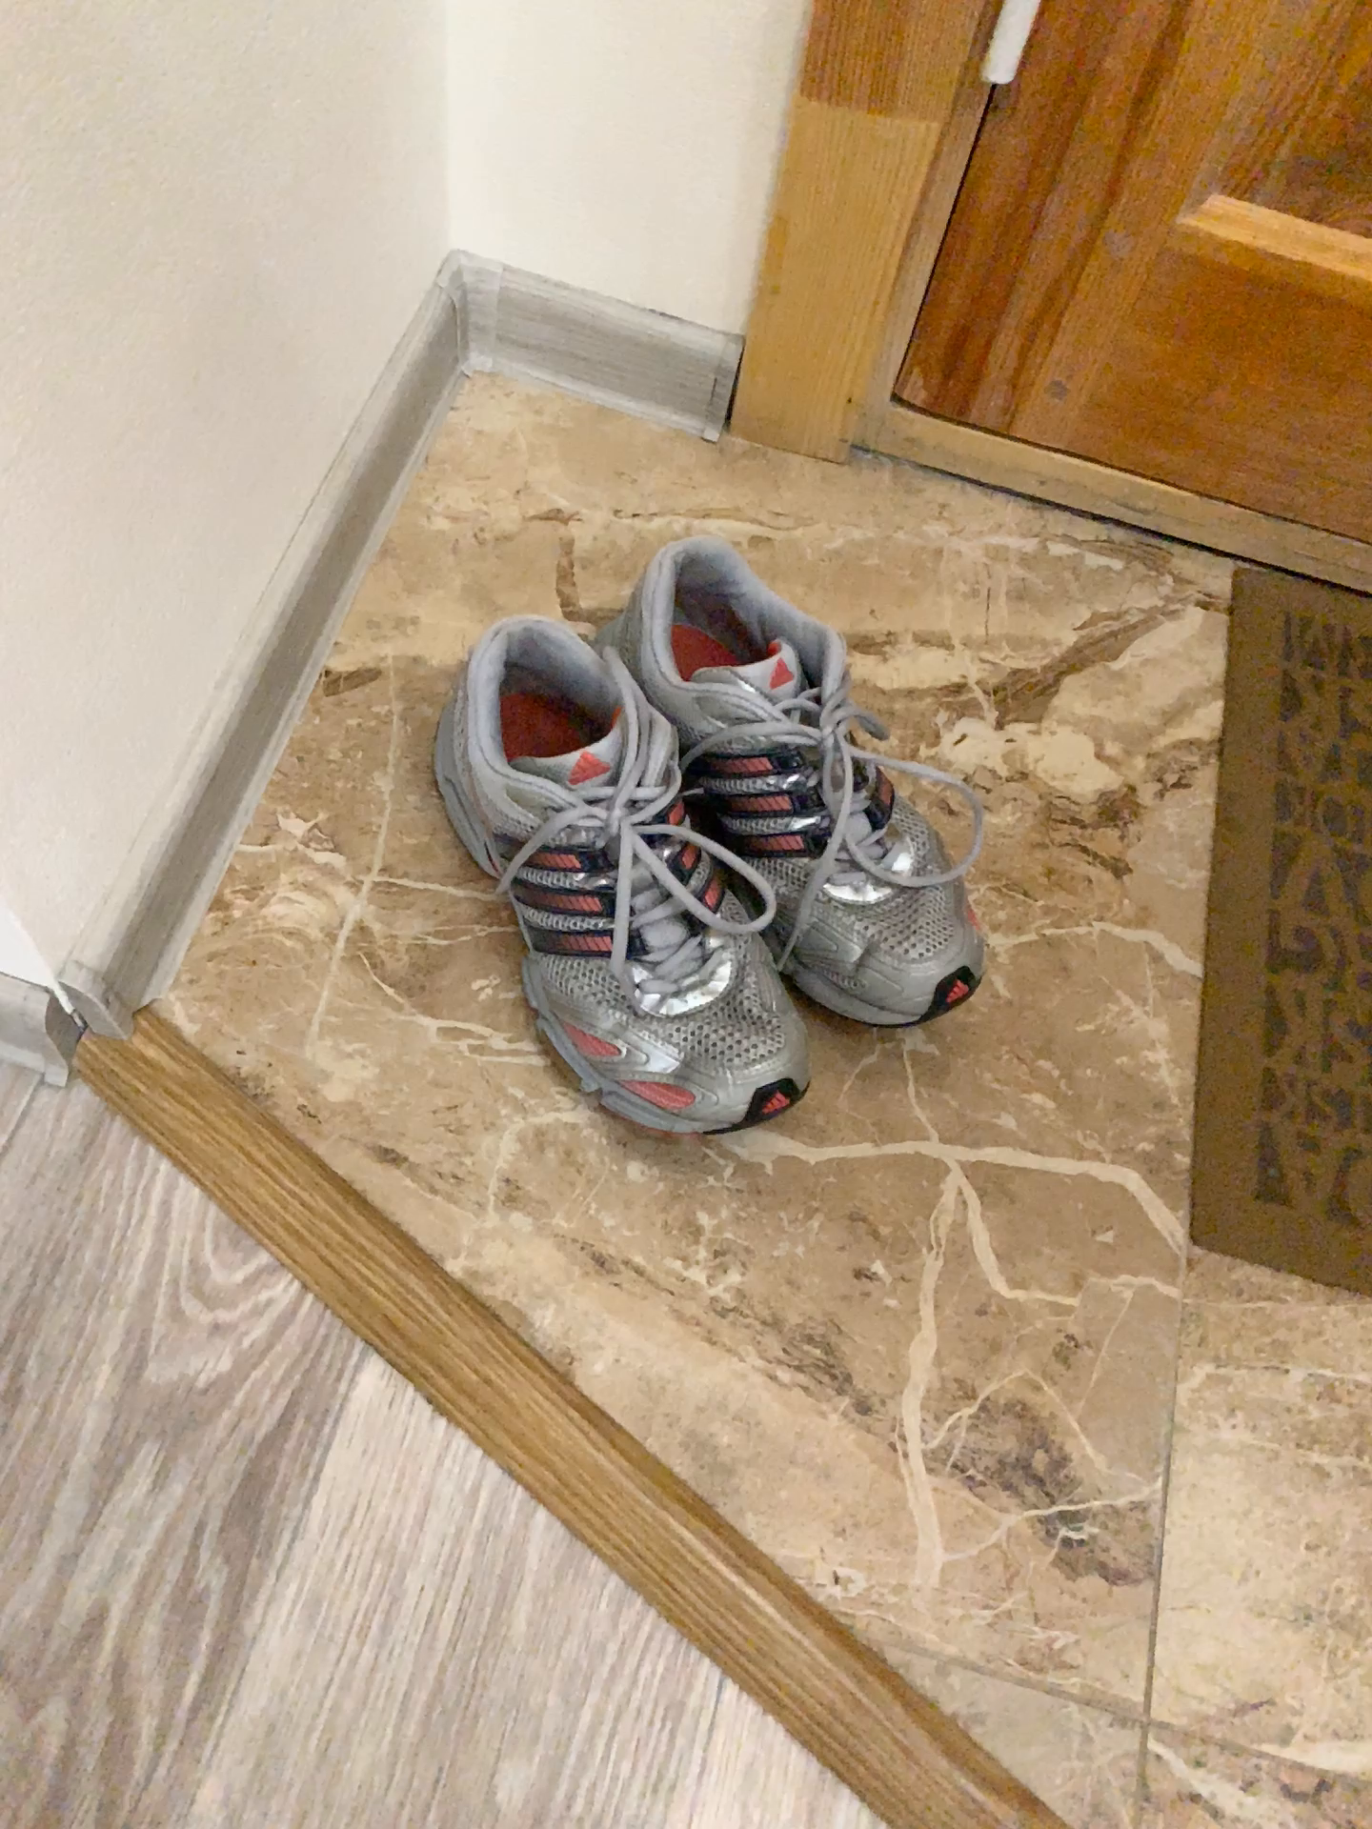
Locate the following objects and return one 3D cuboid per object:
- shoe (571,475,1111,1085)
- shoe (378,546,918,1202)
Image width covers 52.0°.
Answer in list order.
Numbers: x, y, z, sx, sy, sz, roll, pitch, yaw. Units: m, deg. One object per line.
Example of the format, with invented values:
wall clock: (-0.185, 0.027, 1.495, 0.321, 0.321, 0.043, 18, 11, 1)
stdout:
shoe: (0.057, -0.064, 0.625, 0.110, 0.090, 0.240, -25, 68, -20)
shoe: (-0.025, -0.022, 0.587, 0.110, 0.090, 0.240, -24, 68, -19)
